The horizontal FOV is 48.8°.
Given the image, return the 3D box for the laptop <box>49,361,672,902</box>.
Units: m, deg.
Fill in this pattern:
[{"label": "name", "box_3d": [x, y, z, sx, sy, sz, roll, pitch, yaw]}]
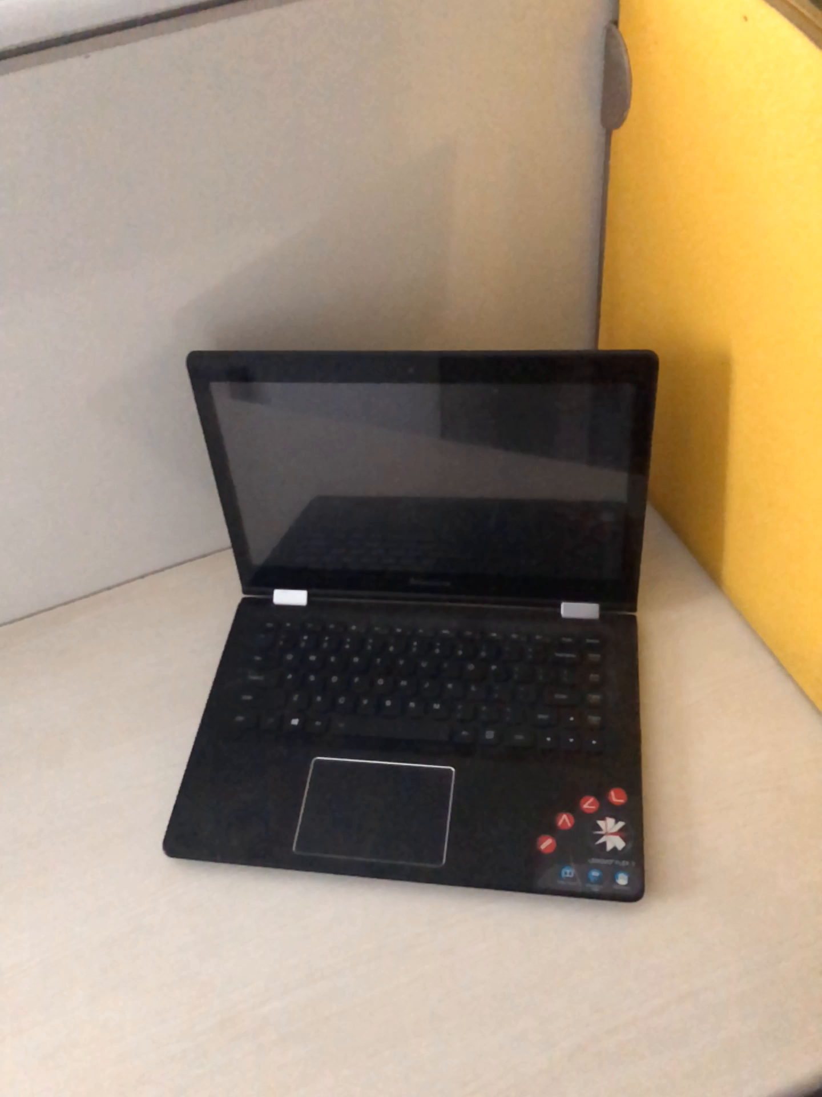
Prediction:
[{"label": "laptop", "box_3d": [-0.006, 0.047, 0.610, 0.311, 0.226, 0.265, 2, 49, 10]}]
